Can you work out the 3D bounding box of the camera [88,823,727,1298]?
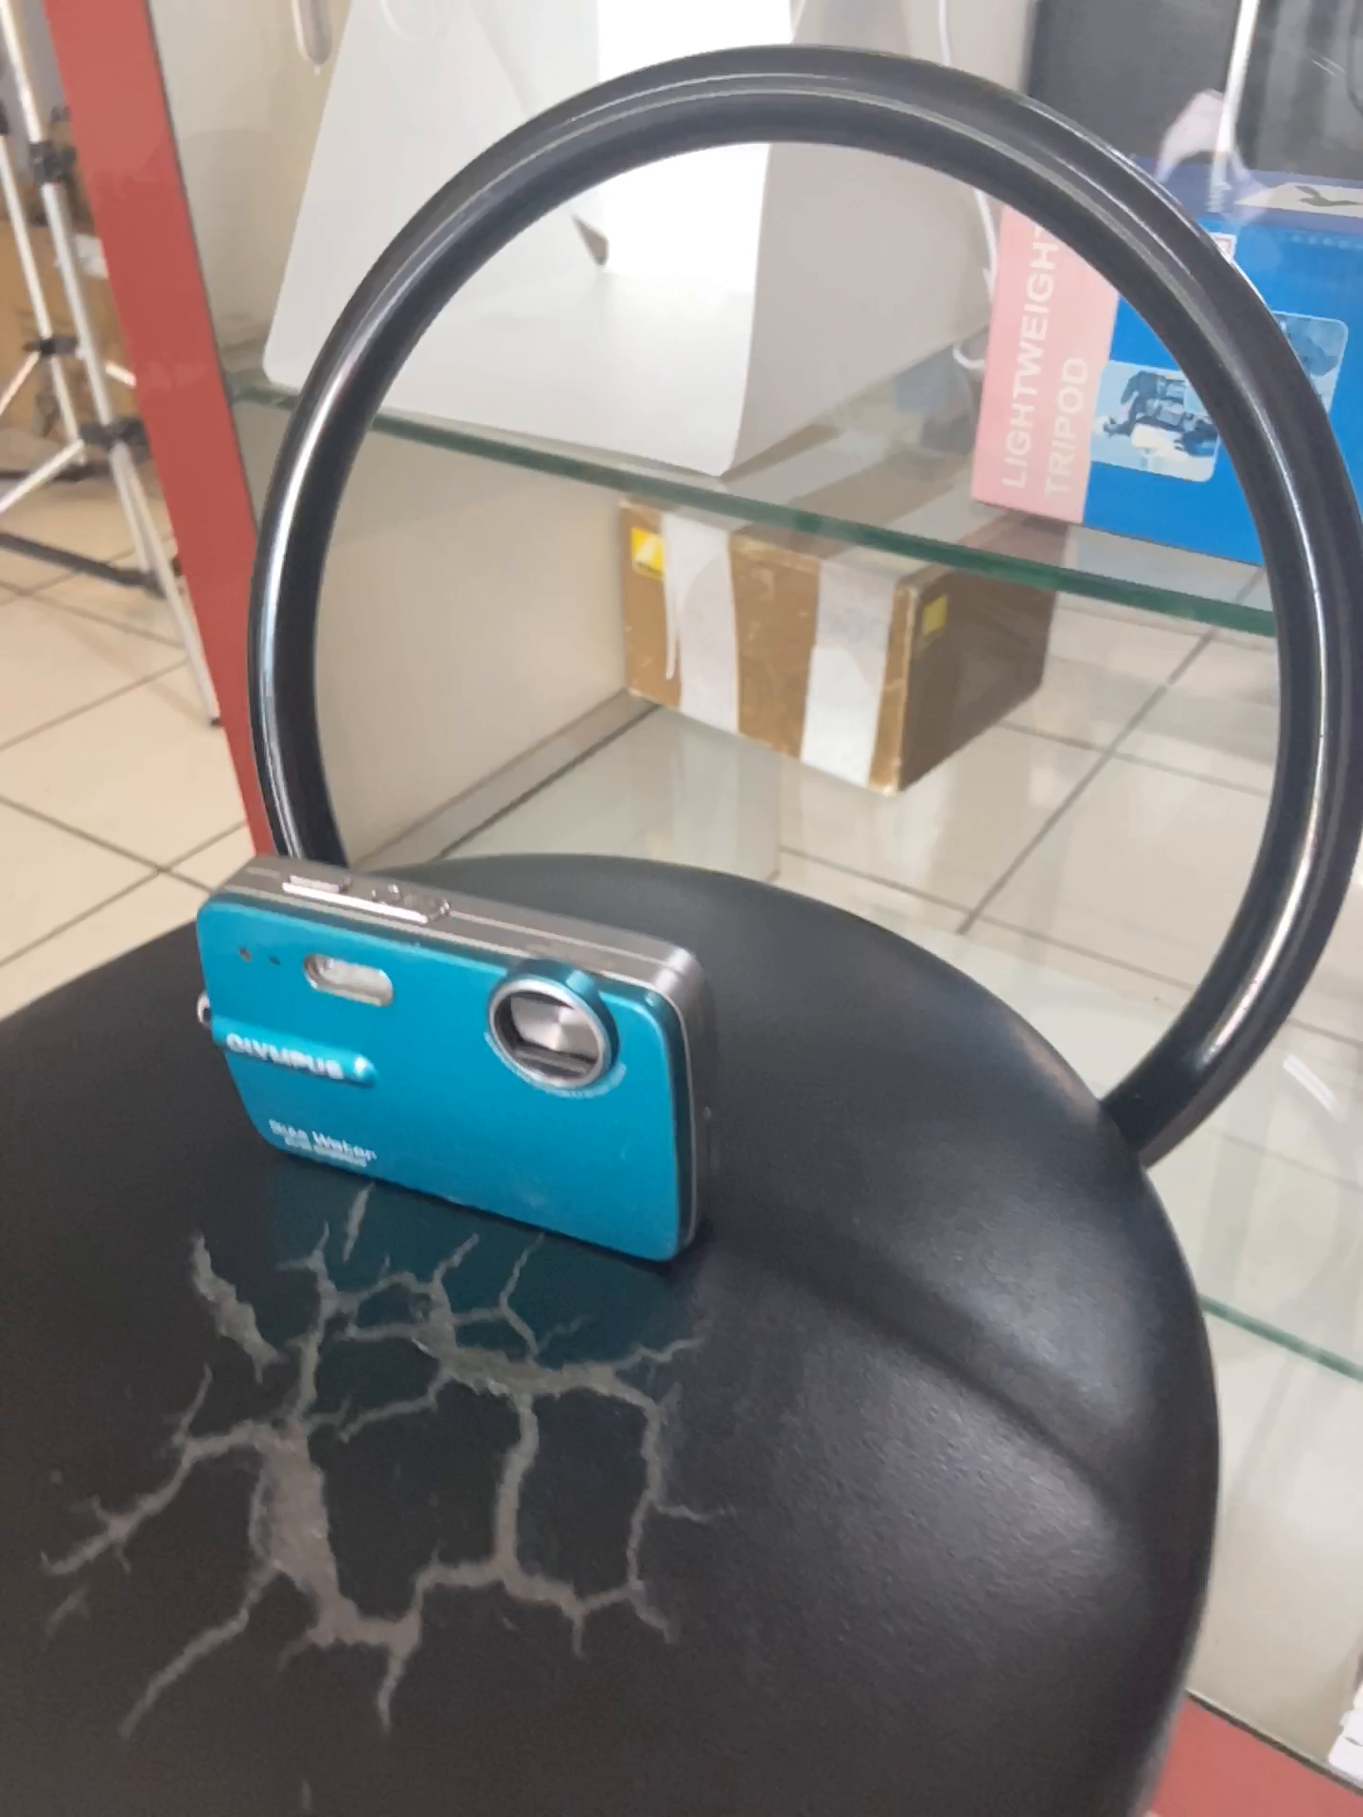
[{"bbox_3d":[-0.045,0.023,0.239,0.100,0.050,0.030,12,37,20],"label":"camera"}]
